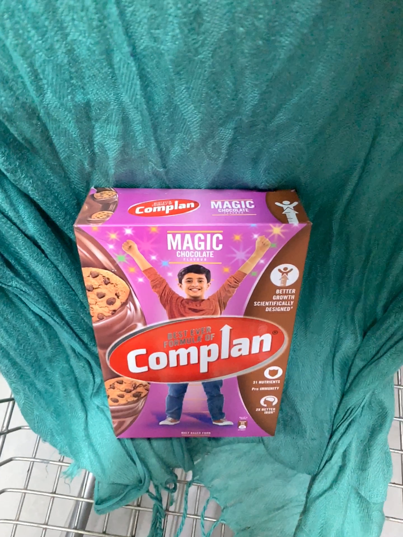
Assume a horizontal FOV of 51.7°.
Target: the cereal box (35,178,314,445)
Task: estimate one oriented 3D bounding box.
[{"bbox_3d":[-0.014,0.046,0.319,0.160,0.220,0.050,0,33,1],"label":"cereal box"}]
